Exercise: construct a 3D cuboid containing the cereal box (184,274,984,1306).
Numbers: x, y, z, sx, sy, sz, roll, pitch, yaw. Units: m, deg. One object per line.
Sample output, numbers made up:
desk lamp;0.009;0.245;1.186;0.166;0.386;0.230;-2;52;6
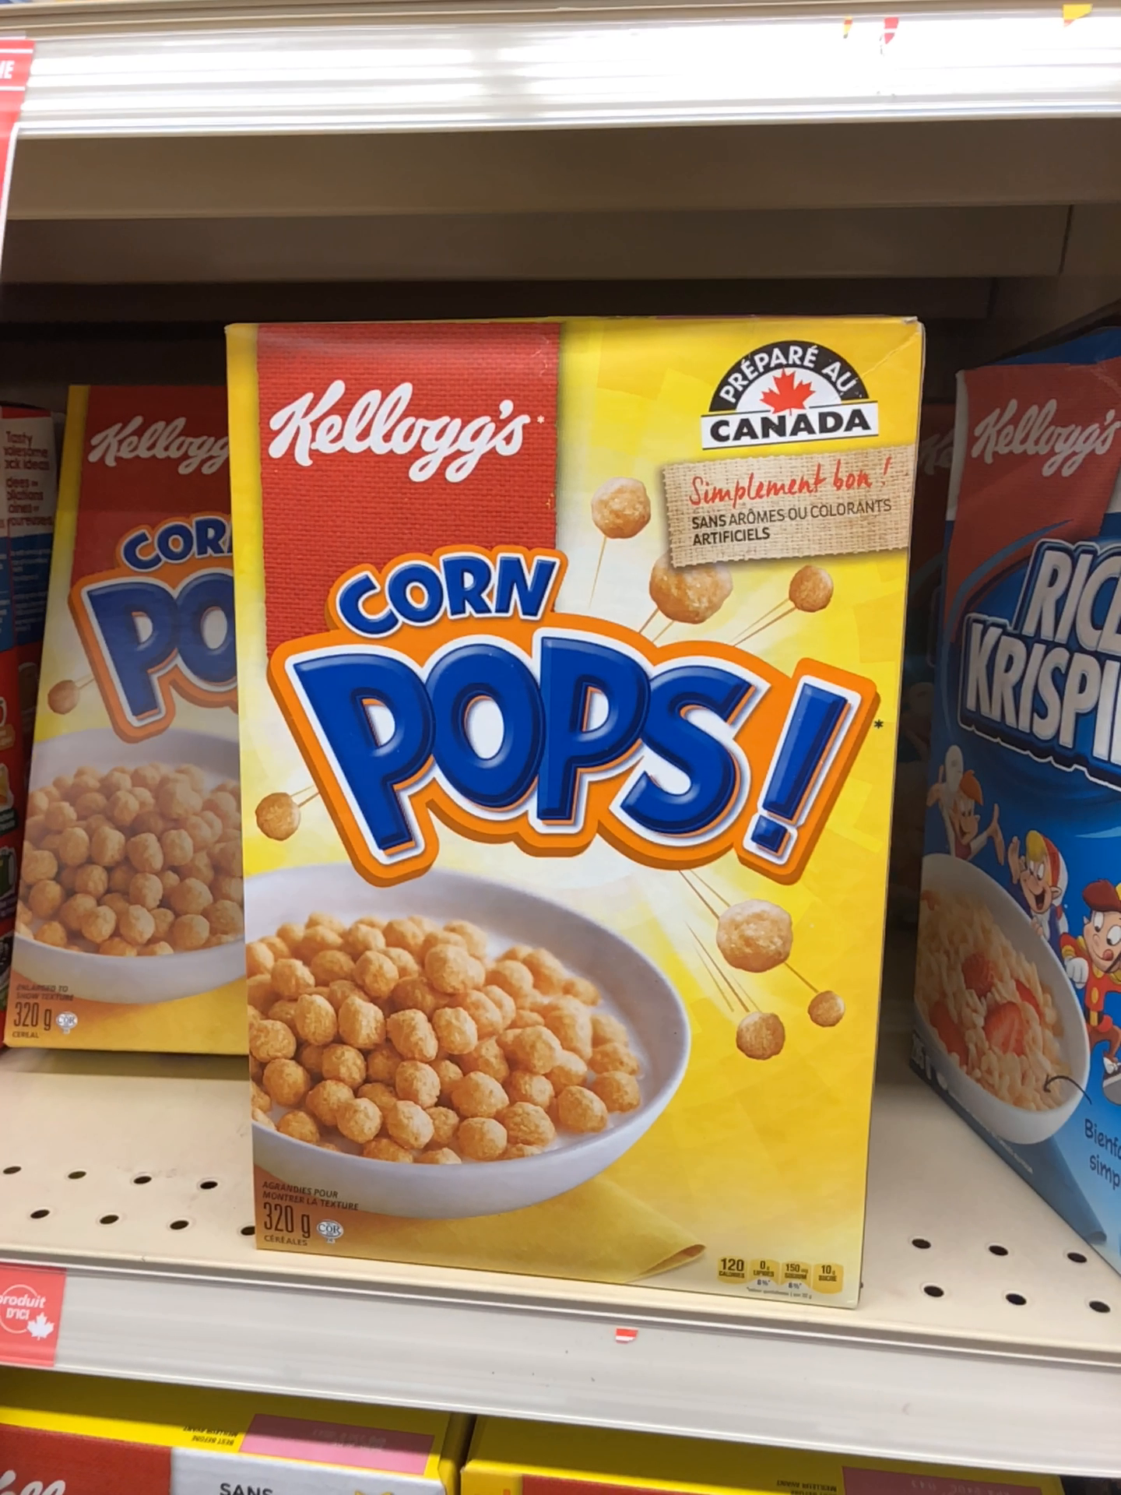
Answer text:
cereal box;0.005;0.013;0.381;0.210;0.289;0.060;2;12;9
